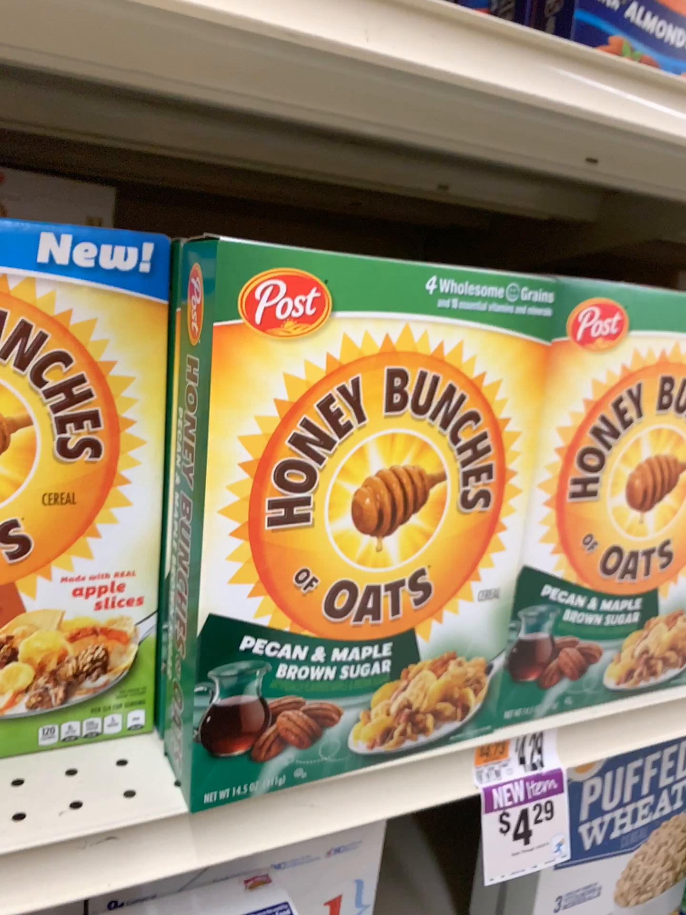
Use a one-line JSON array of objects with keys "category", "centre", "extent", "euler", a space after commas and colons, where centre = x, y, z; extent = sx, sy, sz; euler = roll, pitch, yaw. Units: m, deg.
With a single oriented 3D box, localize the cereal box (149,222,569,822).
[{"category": "cereal box", "centre": [0.007, 0.031, 0.390], "extent": [0.200, 0.279, 0.060], "euler": [-2, 14, -30]}]
